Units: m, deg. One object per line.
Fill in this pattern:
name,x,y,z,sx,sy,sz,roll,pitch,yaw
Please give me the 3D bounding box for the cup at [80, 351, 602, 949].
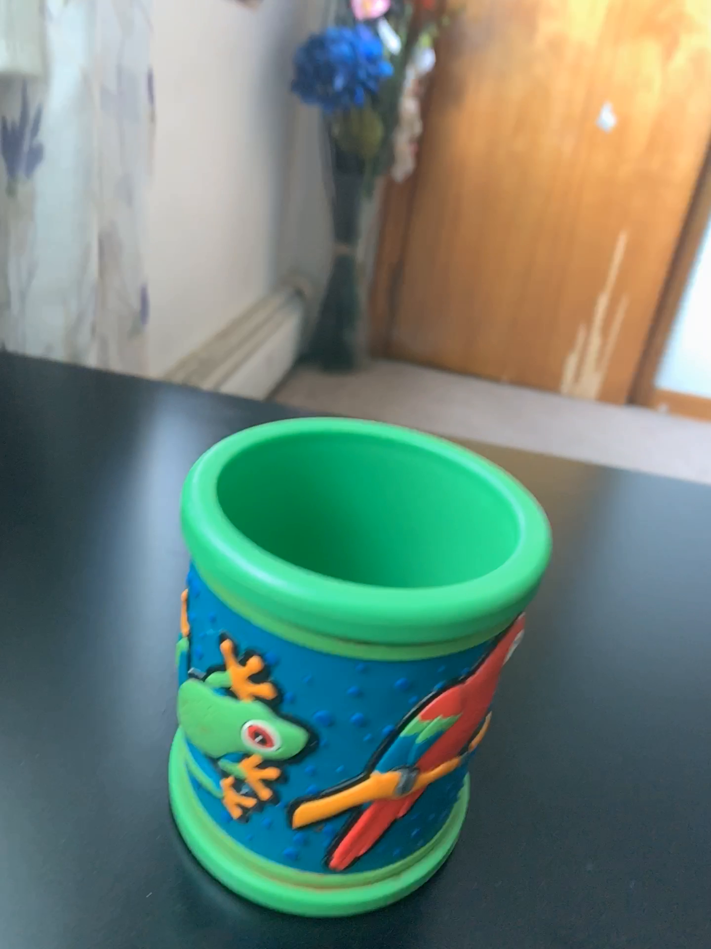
cup,0.003,0.039,0.198,0.080,0.099,0.121,18,28,18
